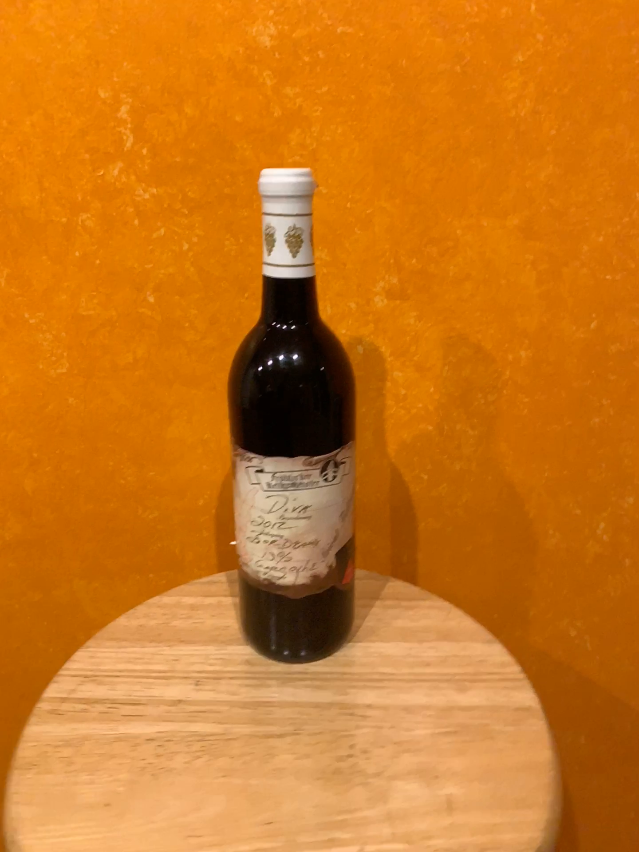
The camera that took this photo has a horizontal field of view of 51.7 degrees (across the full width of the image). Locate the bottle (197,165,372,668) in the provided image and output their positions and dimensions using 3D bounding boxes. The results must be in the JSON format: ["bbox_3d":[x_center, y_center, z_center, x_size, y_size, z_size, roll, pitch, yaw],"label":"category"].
[{"bbox_3d":[-0.014,0.003,0.388,0.080,0.289,0.070,0,22,2],"label":"bottle"}]
